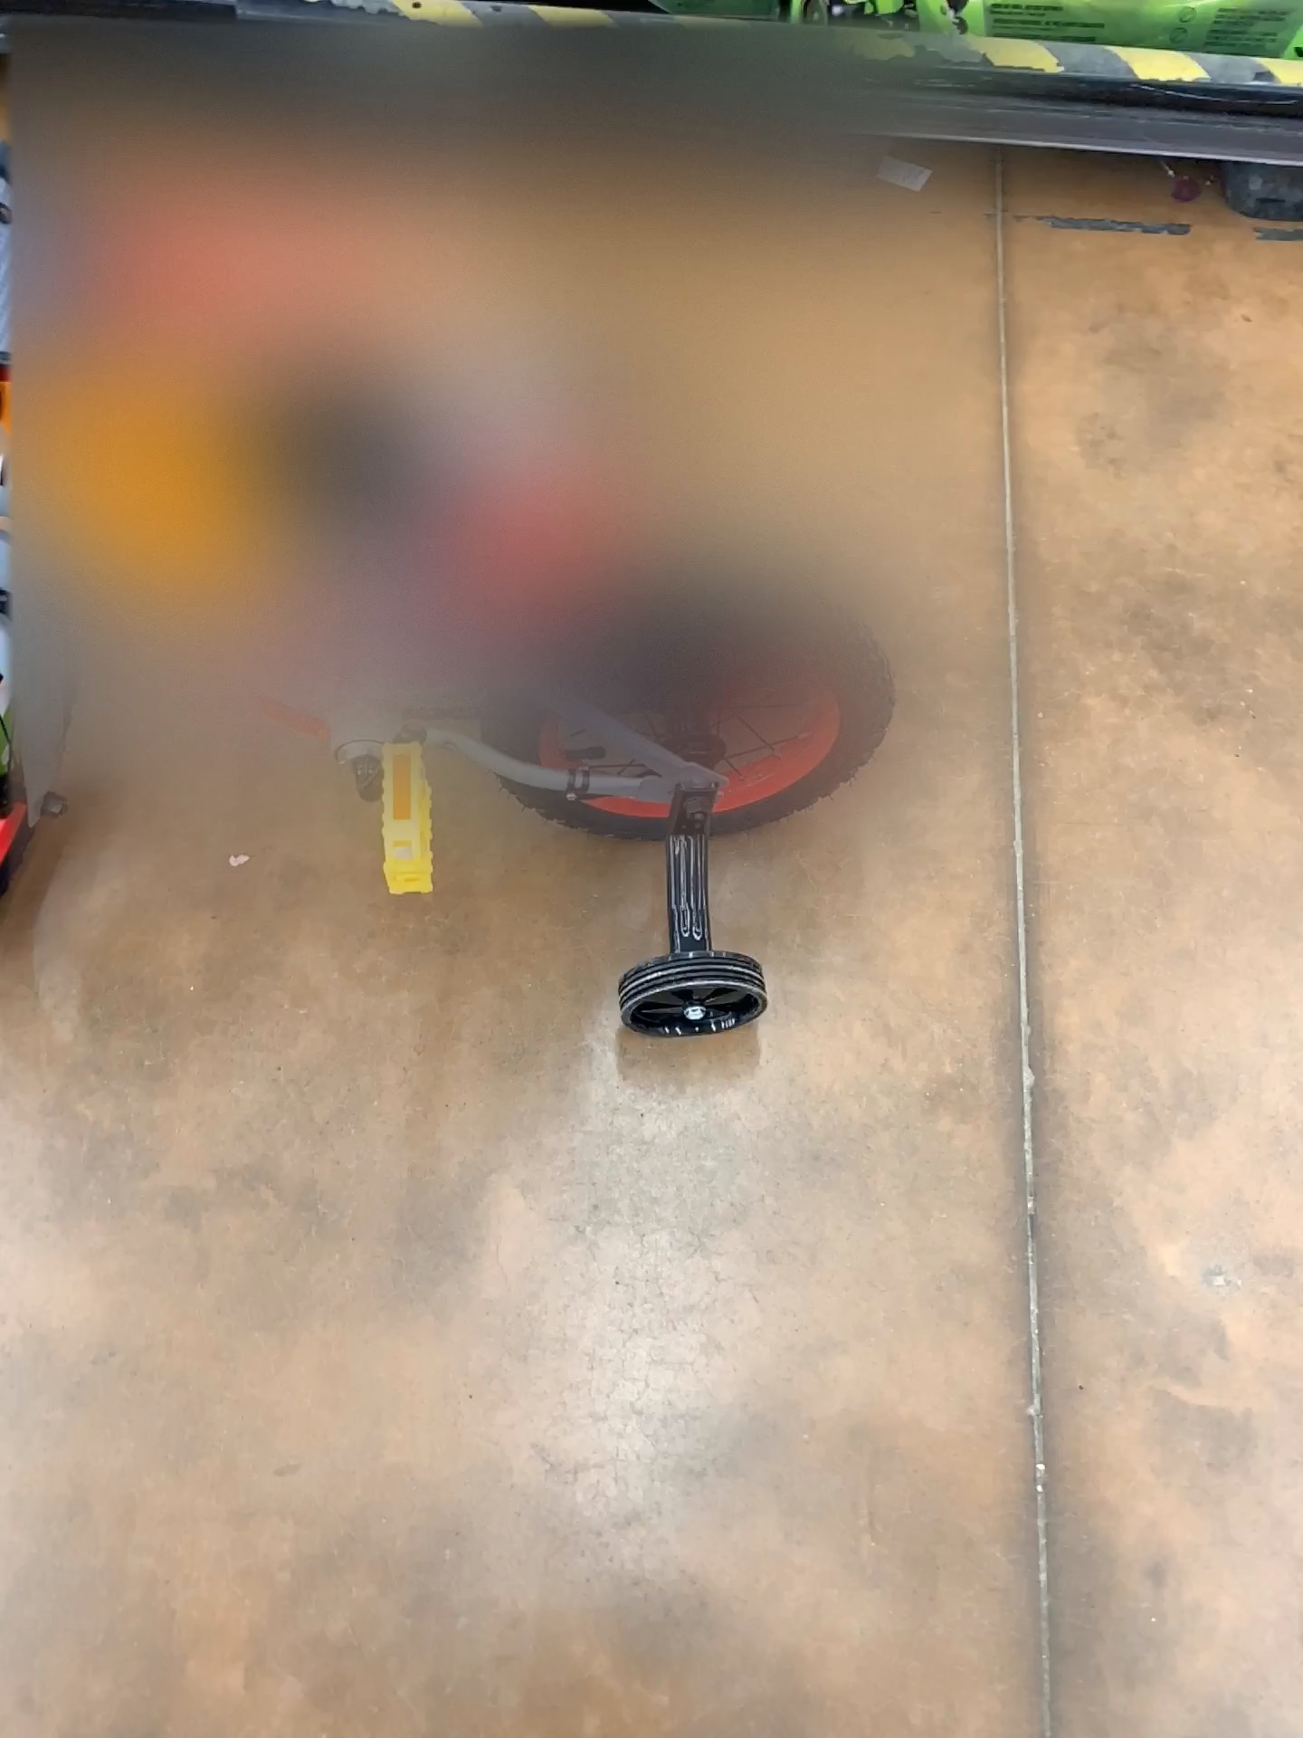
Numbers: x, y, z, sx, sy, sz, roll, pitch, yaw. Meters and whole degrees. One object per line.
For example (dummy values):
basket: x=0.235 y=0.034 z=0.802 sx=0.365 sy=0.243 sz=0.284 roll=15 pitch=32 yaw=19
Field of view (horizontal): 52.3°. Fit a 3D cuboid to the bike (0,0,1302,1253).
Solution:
bike: x=-0.191 y=-0.166 z=0.748 sx=0.640 sy=0.690 sz=0.453 roll=-11 pitch=61 yaw=-3
